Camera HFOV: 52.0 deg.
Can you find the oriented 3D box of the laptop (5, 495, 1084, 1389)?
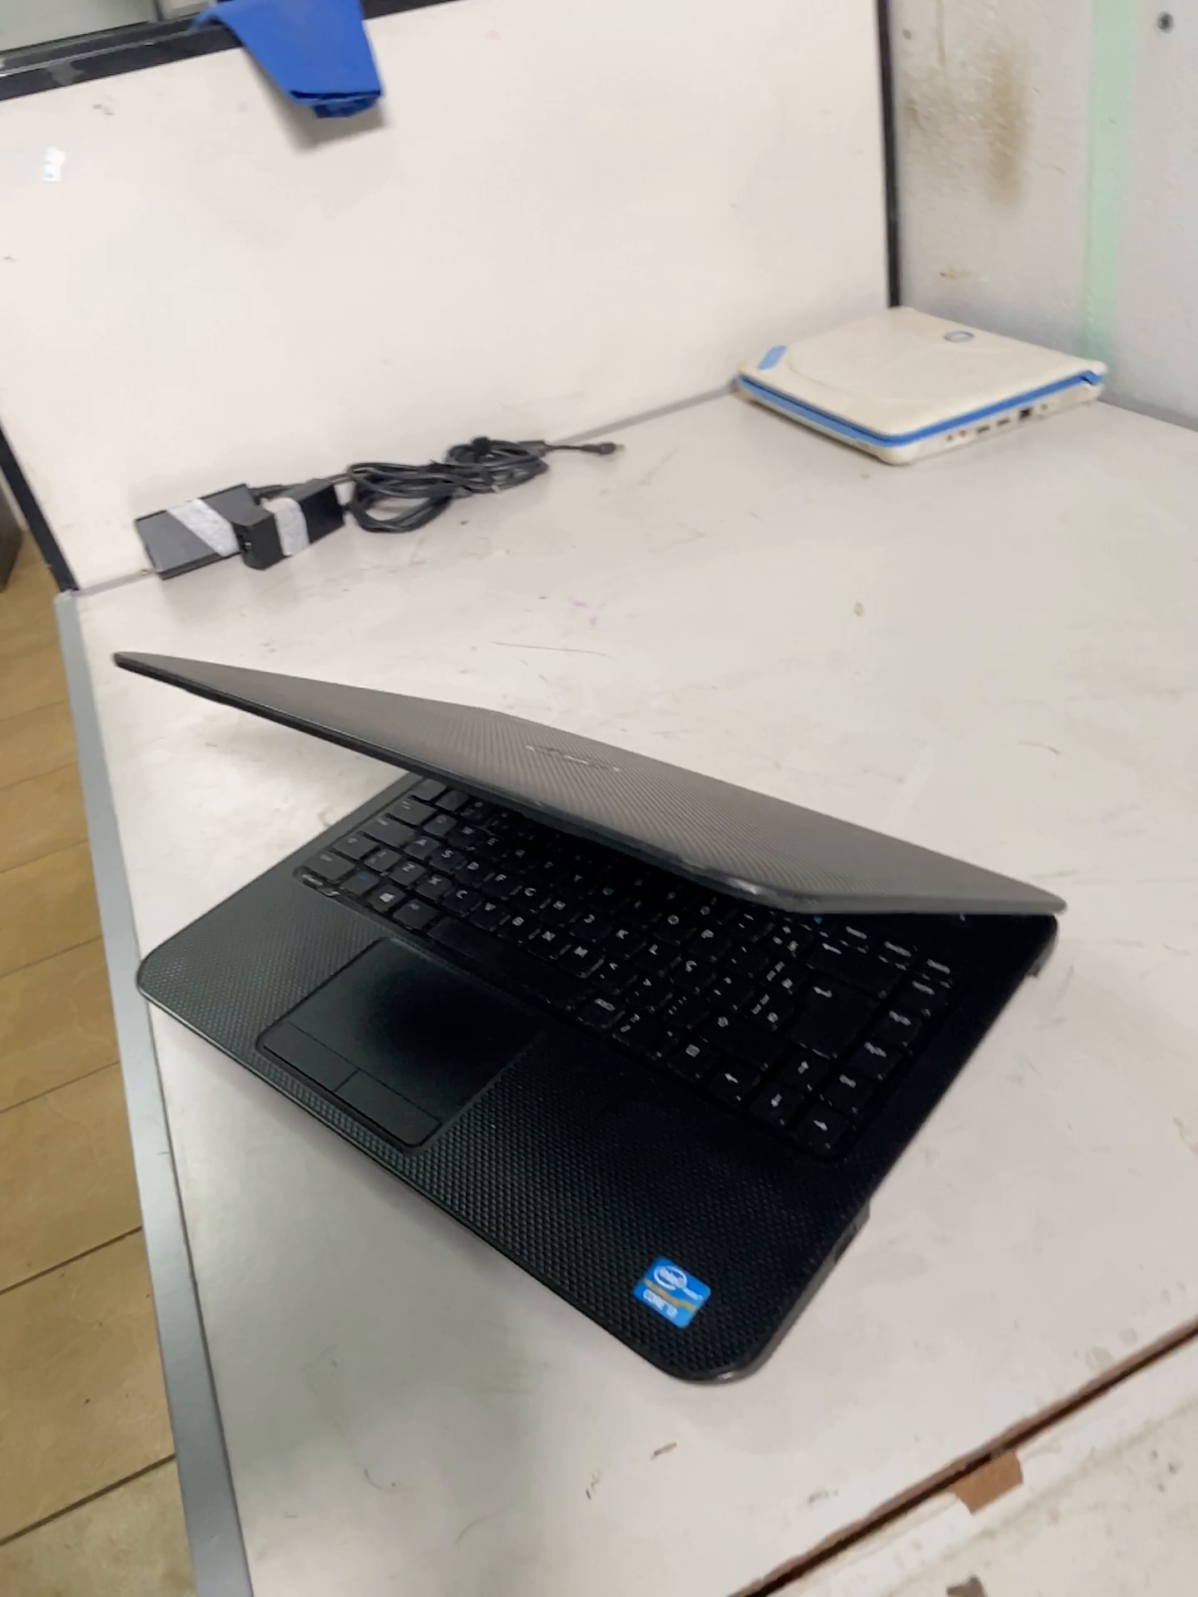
[{"bbox_3d":[-0.023,0.011,0.486,0.331,0.141,0.231,20,45,37],"label":"laptop"}]
